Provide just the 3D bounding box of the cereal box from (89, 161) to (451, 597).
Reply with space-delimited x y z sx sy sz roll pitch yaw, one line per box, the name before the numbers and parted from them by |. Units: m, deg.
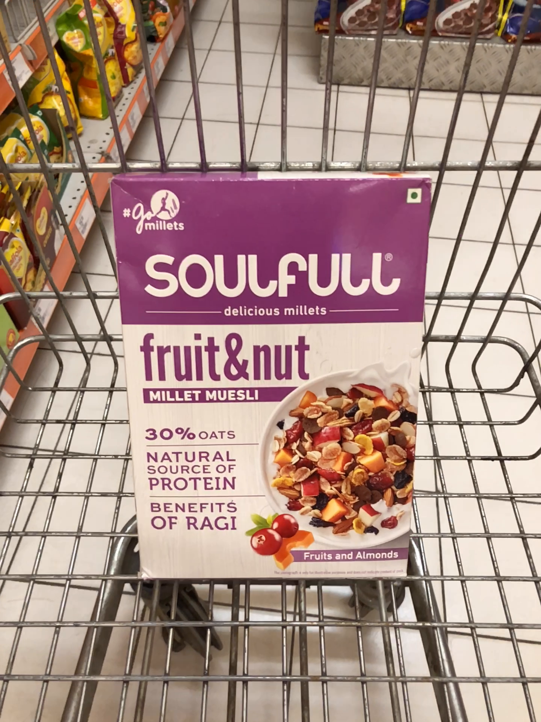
cereal box | 0.000 0.011 0.348 0.170 0.239 0.070 -1 17 -1
